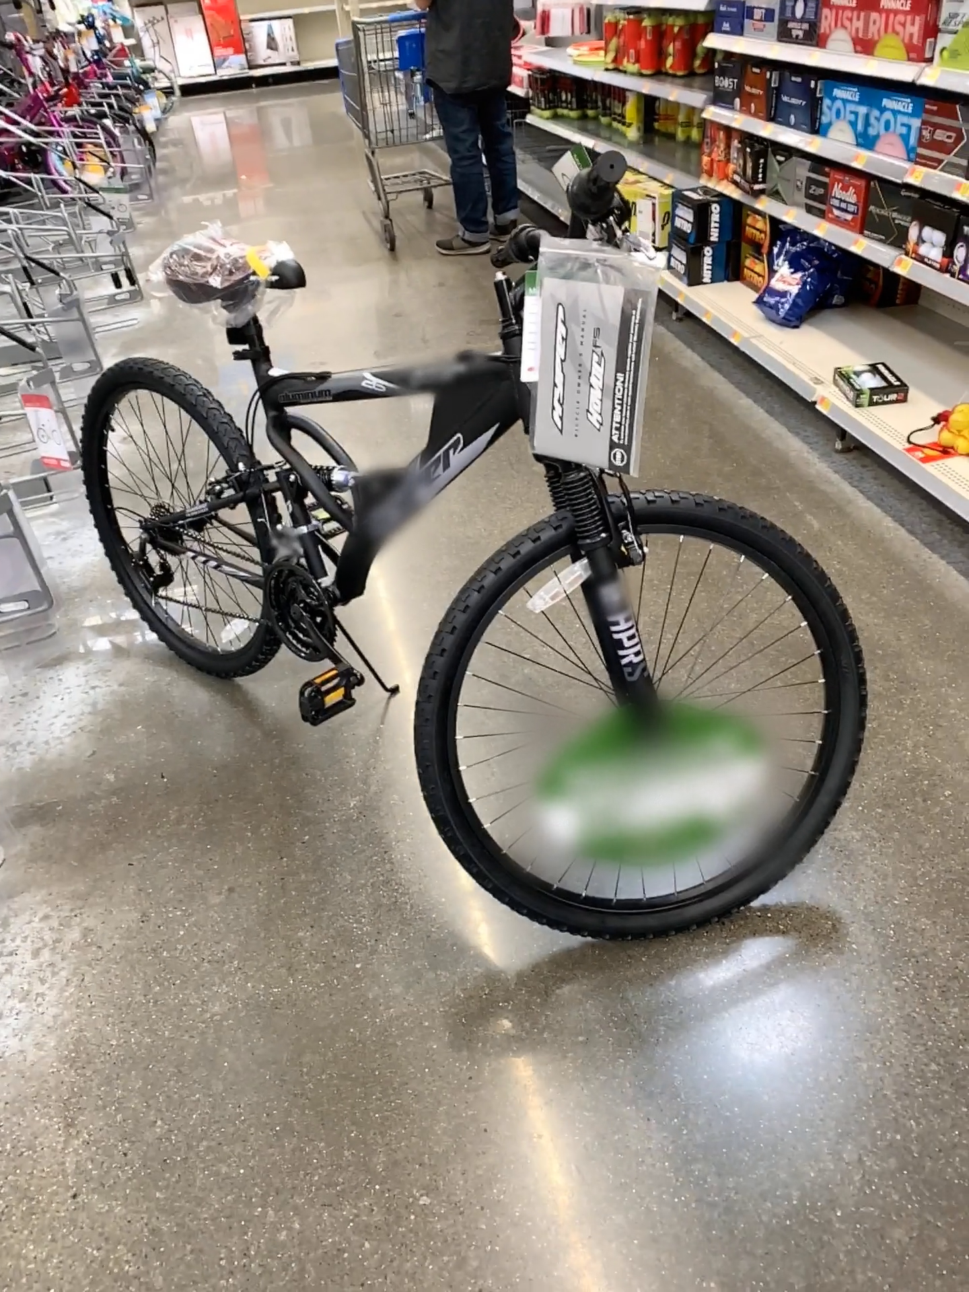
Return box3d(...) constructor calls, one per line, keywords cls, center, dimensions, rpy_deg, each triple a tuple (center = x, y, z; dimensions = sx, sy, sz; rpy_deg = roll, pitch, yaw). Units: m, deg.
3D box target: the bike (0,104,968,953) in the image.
box3d(cls="bike", center=(-0.122, -0.342, 1.890), dimensions=(1.680, 1.089, 0.694), rpy_deg=(16, 40, 26))
